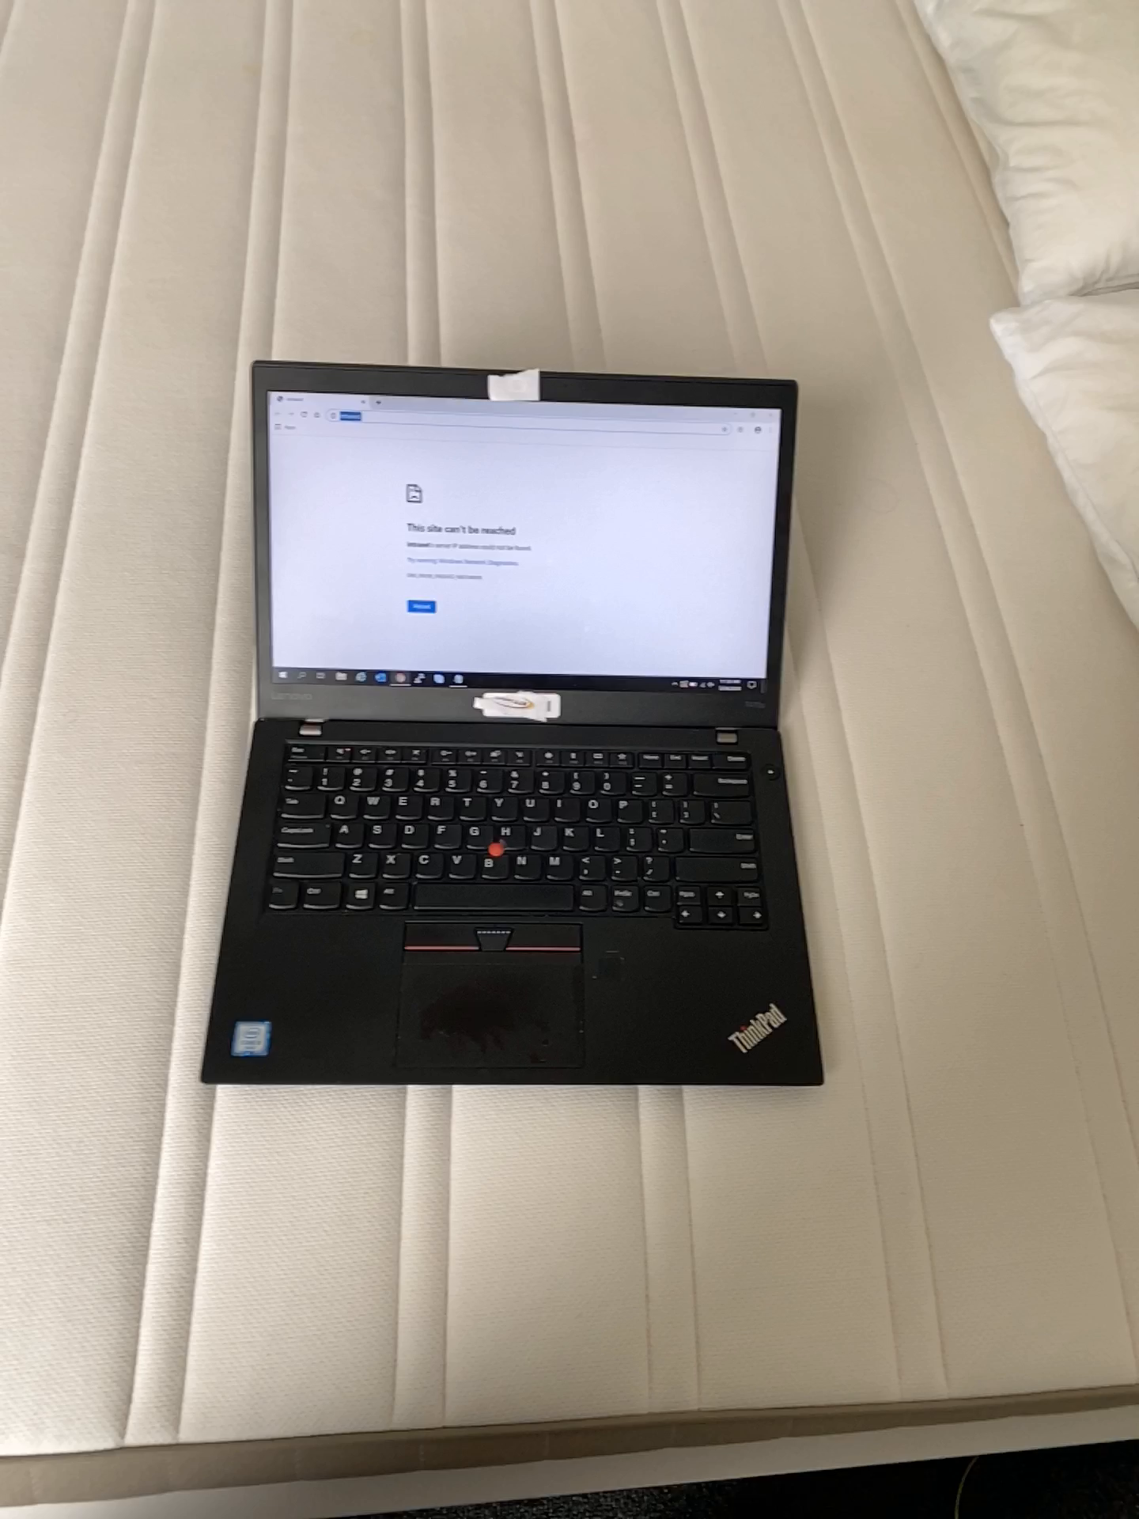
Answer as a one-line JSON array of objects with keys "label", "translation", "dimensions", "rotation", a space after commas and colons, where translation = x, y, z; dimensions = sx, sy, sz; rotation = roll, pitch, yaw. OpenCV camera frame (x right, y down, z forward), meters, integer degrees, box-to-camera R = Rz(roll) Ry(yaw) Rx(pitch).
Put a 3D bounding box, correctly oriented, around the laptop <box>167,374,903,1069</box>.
[{"label": "laptop", "translation": [-0.019, -0.031, 0.656], "dimensions": [0.320, 0.120, 0.382], "rotation": [2, 59, -5]}]
